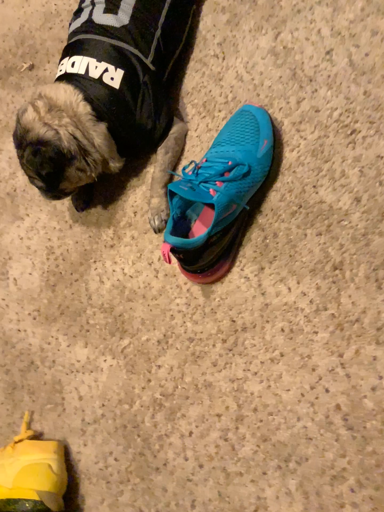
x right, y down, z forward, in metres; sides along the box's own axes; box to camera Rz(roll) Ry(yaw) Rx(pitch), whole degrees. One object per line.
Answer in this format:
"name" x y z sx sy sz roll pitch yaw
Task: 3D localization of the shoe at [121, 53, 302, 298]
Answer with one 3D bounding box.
"shoe" 0.040 -0.124 0.682 0.130 0.140 0.340 20 87 30
